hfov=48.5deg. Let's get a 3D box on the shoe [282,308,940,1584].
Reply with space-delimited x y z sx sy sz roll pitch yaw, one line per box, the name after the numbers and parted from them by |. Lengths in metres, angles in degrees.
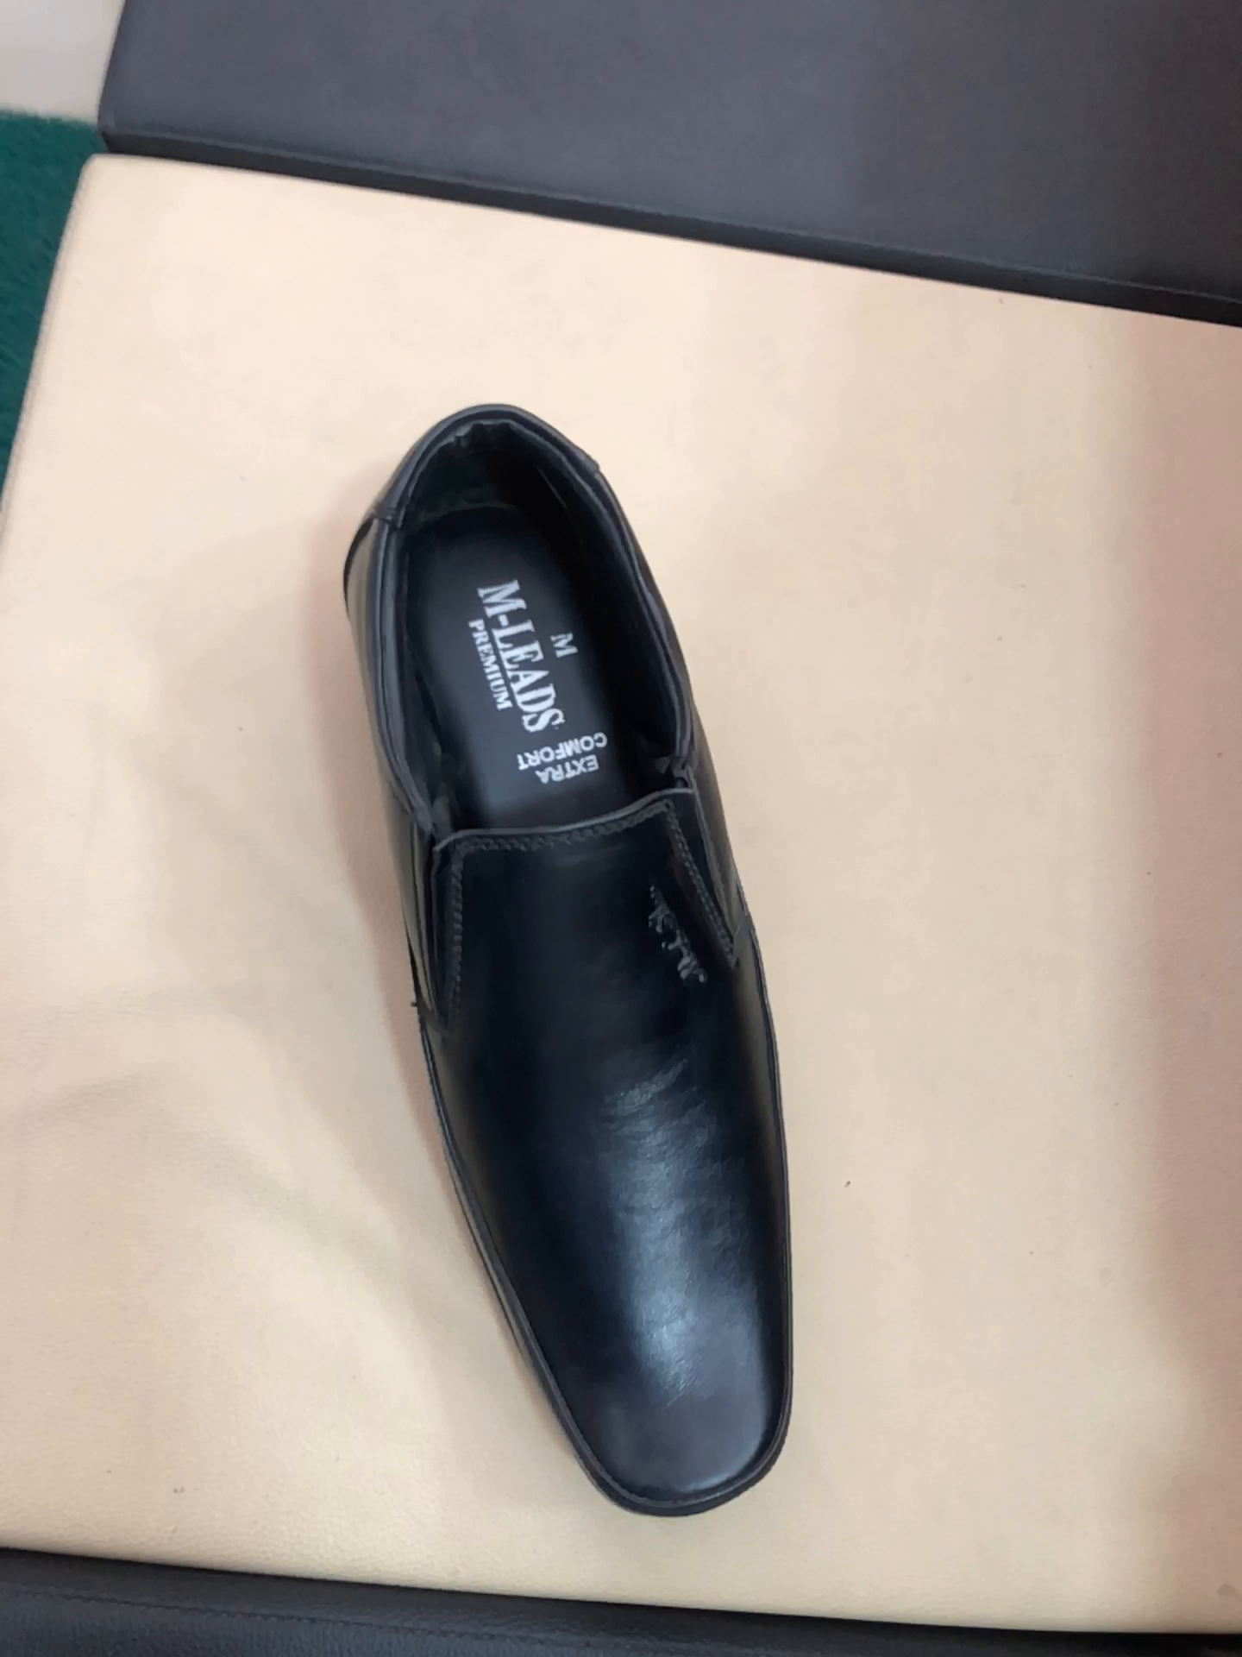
-0.013 0.019 0.373 0.100 0.080 0.300 -10 76 -10 | shoe
